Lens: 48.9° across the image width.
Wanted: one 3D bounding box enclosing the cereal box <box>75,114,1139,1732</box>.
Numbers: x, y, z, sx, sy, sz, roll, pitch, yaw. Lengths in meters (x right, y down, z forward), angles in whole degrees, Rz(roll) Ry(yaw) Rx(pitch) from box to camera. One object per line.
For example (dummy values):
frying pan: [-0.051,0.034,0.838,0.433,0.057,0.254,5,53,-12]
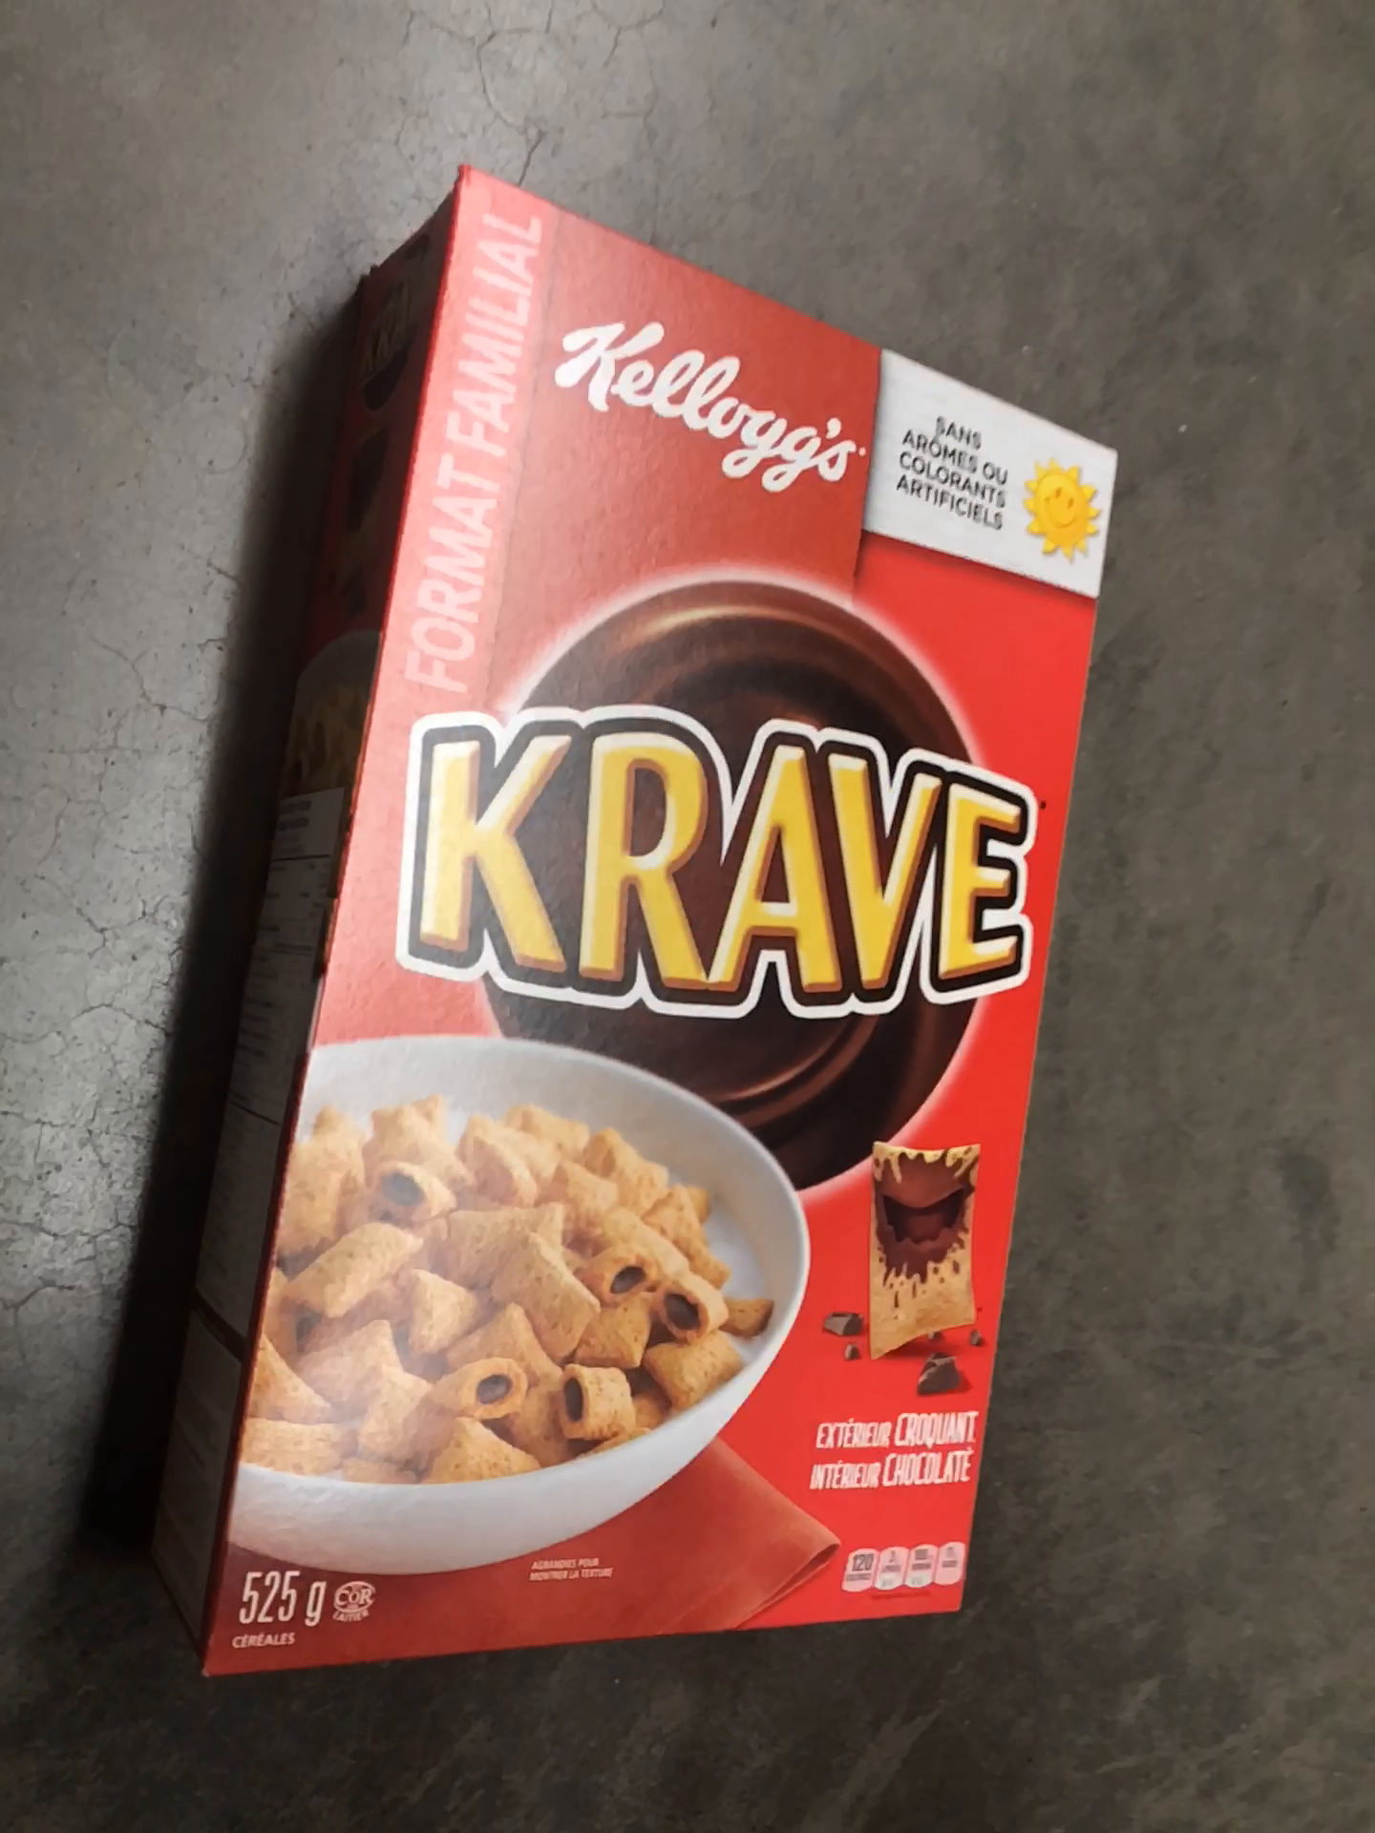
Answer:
cereal box: [-0.009,0.012,0.366,0.200,0.070,0.310,11,86,-30]
